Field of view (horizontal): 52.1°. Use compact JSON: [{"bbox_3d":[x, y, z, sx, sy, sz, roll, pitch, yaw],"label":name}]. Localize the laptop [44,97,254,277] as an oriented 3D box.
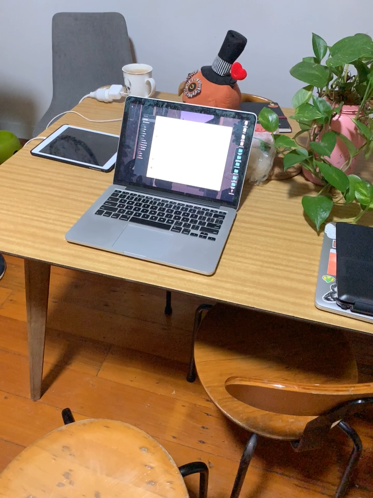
[{"bbox_3d":[-0.043,-0.131,0.677,0.263,0.144,0.288,13,42,14],"label":"laptop"}]
